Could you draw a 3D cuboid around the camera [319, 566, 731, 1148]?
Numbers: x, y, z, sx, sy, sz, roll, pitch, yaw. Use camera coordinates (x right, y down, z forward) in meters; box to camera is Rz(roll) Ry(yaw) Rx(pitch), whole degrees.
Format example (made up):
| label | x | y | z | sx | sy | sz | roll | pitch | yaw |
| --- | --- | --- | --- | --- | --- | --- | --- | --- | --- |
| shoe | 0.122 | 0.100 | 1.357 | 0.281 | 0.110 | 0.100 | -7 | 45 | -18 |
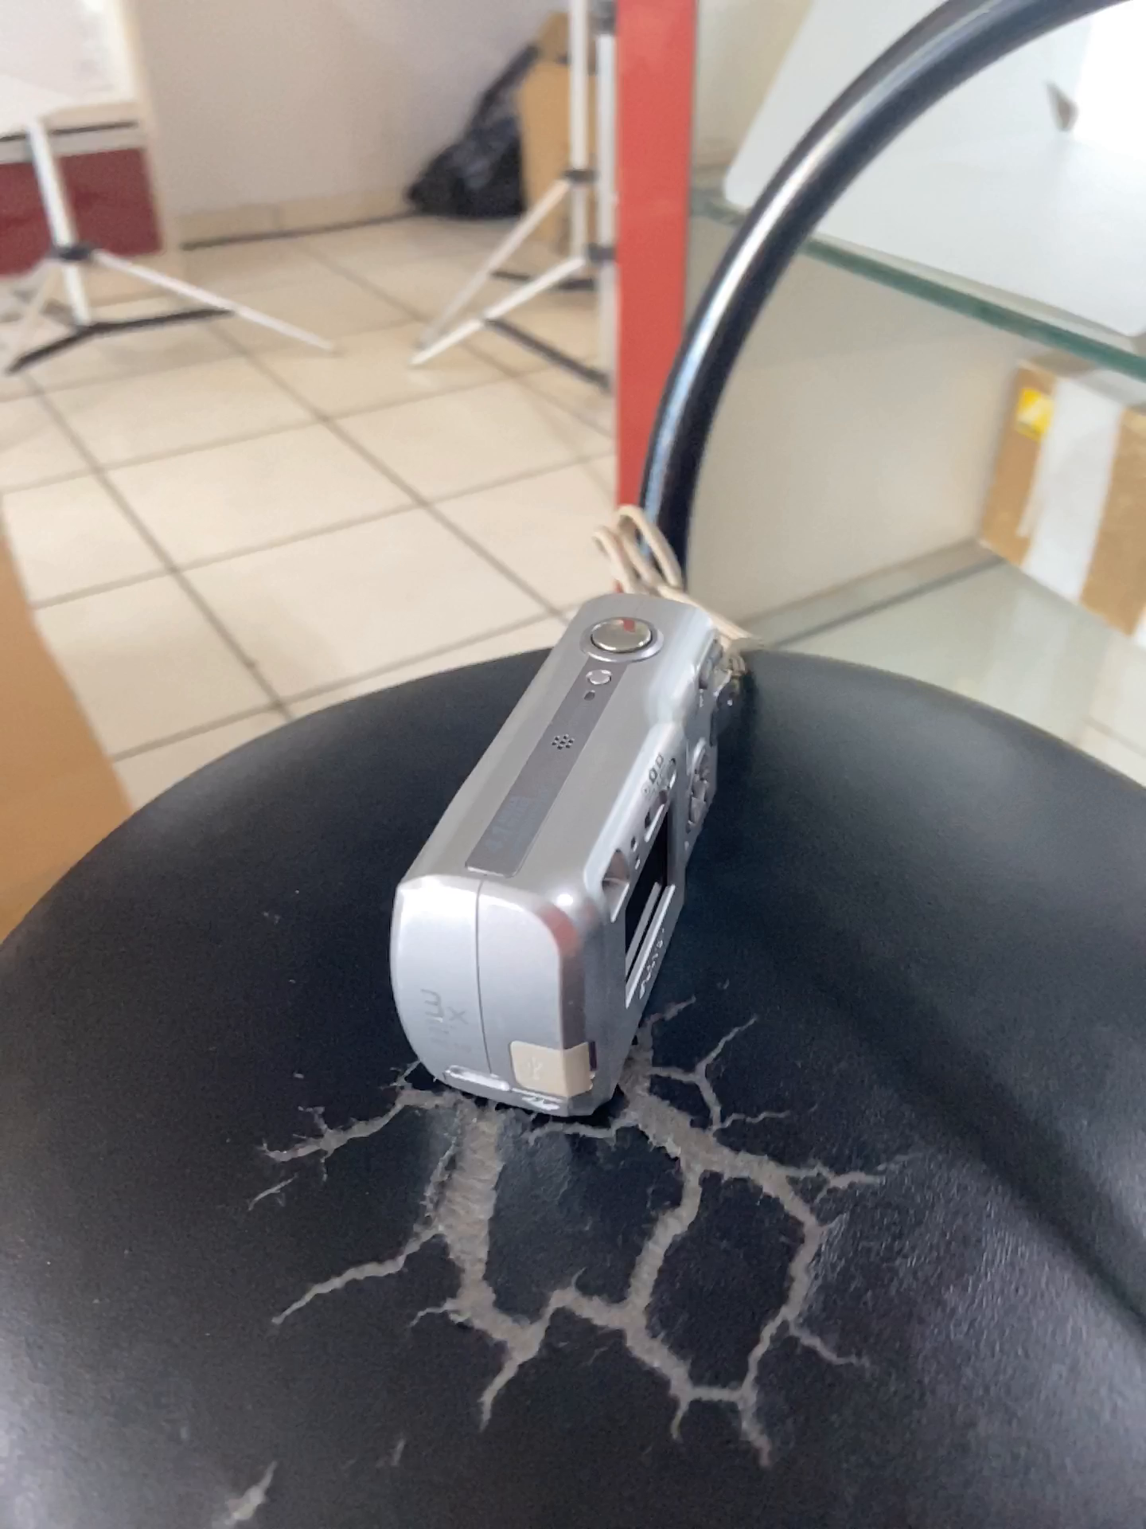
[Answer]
| label | x | y | z | sx | sy | sz | roll | pitch | yaw |
| --- | --- | --- | --- | --- | --- | --- | --- | --- | --- |
| camera | -0.003 | 0.011 | 0.226 | 0.040 | 0.050 | 0.101 | 11 | 40 | 15 |
